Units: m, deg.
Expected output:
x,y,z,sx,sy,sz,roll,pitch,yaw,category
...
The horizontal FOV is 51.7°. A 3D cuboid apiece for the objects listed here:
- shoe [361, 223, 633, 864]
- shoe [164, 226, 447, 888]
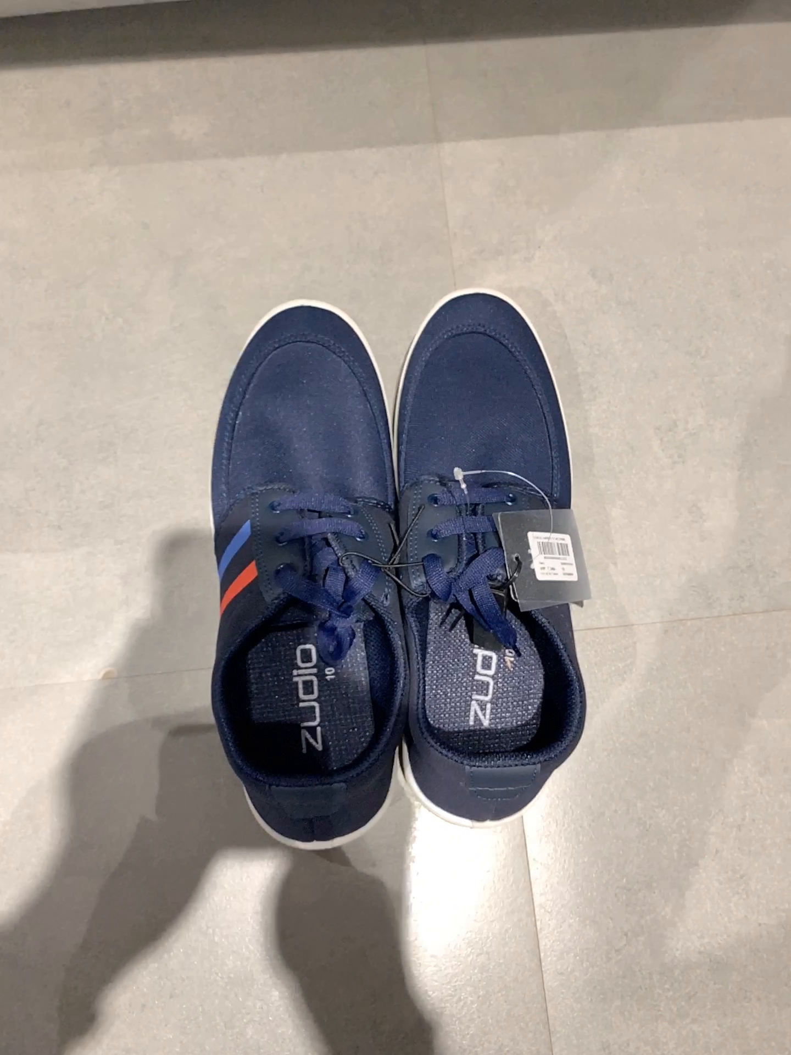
x,y,z,sx,sy,sz,roll,pitch,yaw,category
0.047,0.006,0.442,0.120,0.100,0.310,2,78,-3,shoe
-0.046,0.010,0.429,0.120,0.100,0.310,-1,78,-3,shoe
